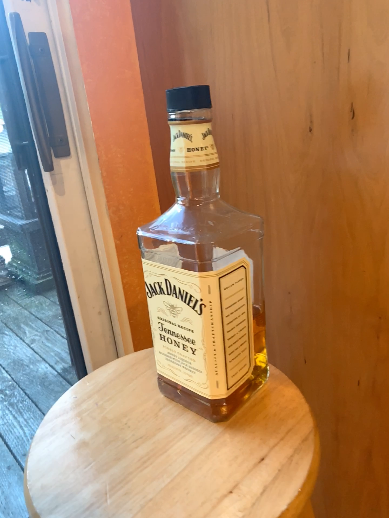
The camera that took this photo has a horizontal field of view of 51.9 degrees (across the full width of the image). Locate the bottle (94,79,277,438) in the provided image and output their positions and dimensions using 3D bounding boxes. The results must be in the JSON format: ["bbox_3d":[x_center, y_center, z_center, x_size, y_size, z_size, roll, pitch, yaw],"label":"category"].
[{"bbox_3d":[0.003,-0.001,0.417,0.120,0.328,0.100,11,26,40],"label":"bottle"}]
